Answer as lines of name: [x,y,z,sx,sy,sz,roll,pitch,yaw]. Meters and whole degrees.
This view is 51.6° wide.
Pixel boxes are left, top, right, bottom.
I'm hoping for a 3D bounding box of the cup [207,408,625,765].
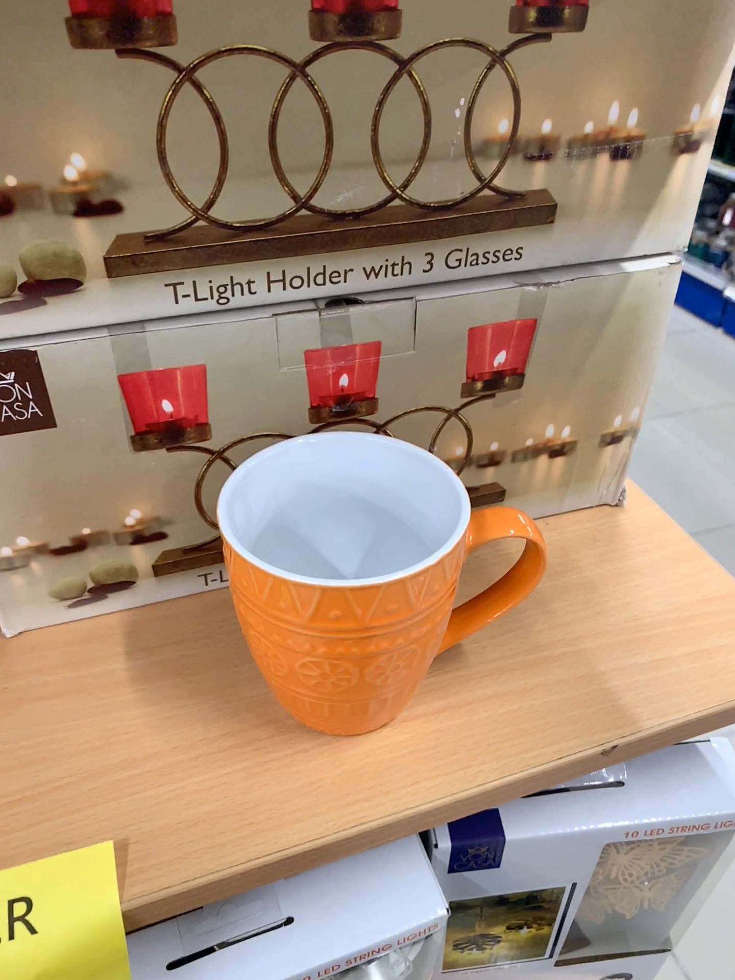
cup: [0.009,0.030,0.272,0.120,0.080,0.080,-6,36,-11]
